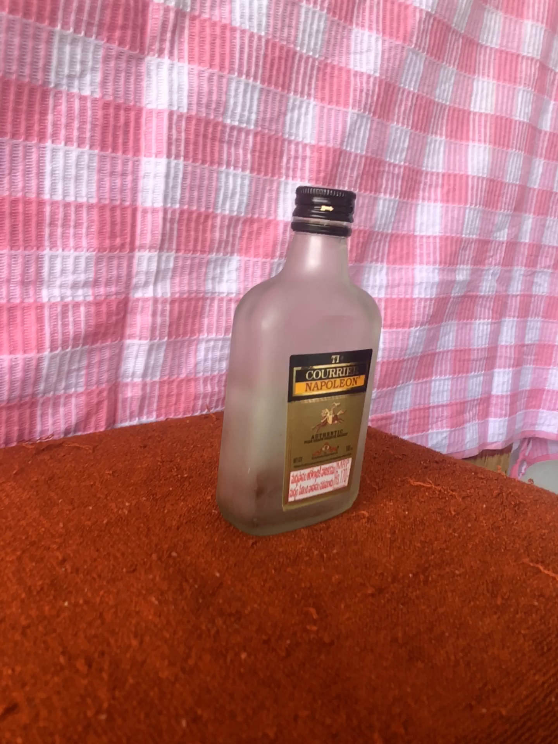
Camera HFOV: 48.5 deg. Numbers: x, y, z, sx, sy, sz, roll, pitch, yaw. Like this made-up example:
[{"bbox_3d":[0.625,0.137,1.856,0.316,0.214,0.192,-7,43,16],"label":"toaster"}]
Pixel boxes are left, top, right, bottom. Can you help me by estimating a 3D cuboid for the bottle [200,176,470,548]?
[{"bbox_3d":[0.023,-0.006,0.258,0.080,0.130,0.050,-3,18,-43],"label":"bottle"}]
